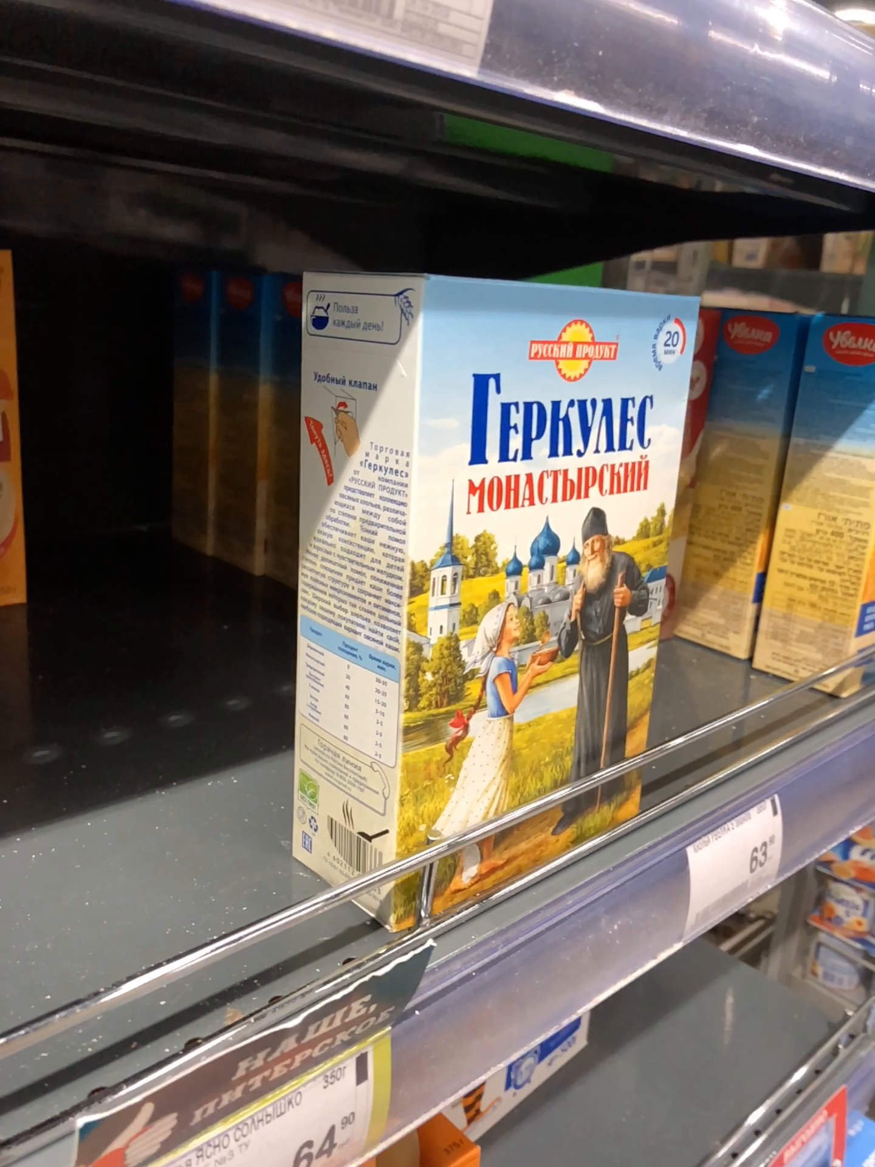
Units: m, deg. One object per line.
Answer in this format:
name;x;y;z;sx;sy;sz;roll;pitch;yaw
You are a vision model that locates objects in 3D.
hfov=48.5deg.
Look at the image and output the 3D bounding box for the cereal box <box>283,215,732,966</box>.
cereal box;0.022;-0.005;0.314;0.130;0.199;0.060;-11;20;-43
